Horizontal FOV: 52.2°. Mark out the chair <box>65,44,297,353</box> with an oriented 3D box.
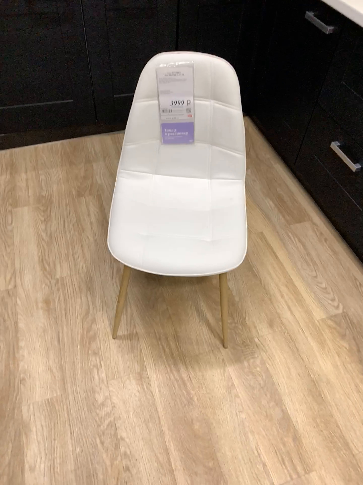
[{"bbox_3d":[-0.007,-0.093,1.247,0.470,0.826,0.573,5,50,0],"label":"chair"}]
